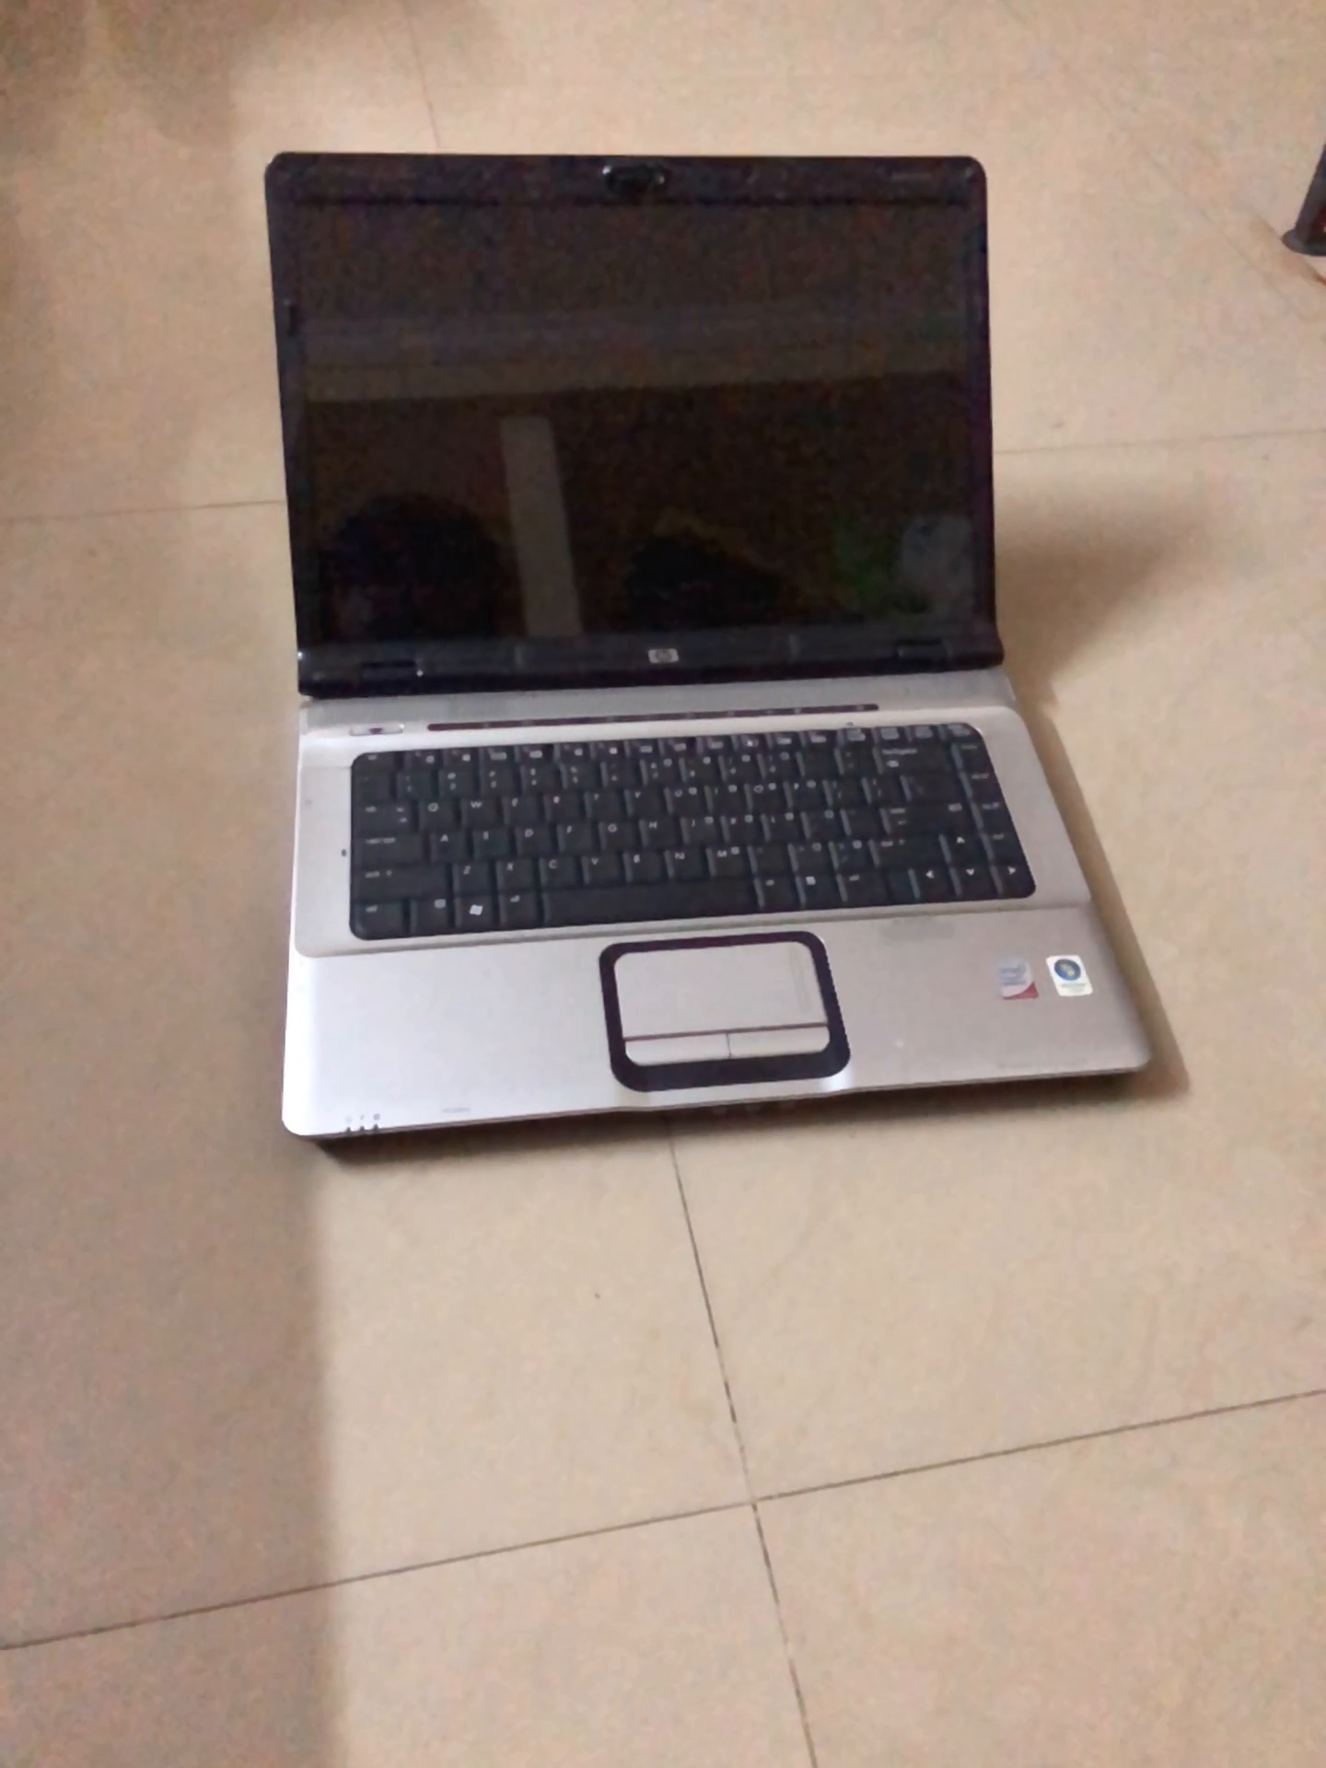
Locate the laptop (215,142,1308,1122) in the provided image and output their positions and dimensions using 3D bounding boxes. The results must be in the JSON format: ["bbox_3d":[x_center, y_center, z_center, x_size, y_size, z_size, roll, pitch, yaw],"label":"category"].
[{"bbox_3d":[0.009,-0.135,0.630,0.338,0.166,0.411,-3,52,-7],"label":"laptop"}]
